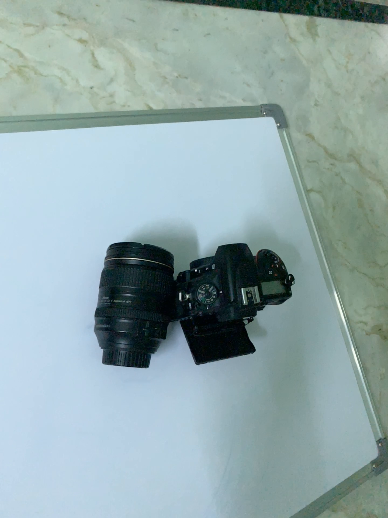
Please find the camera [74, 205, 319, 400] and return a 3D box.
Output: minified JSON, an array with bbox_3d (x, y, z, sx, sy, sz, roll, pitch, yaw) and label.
[{"bbox_3d":[0.003,0.041,0.470,0.241,0.100,0.160,-10,83,-27],"label":"camera"}]
